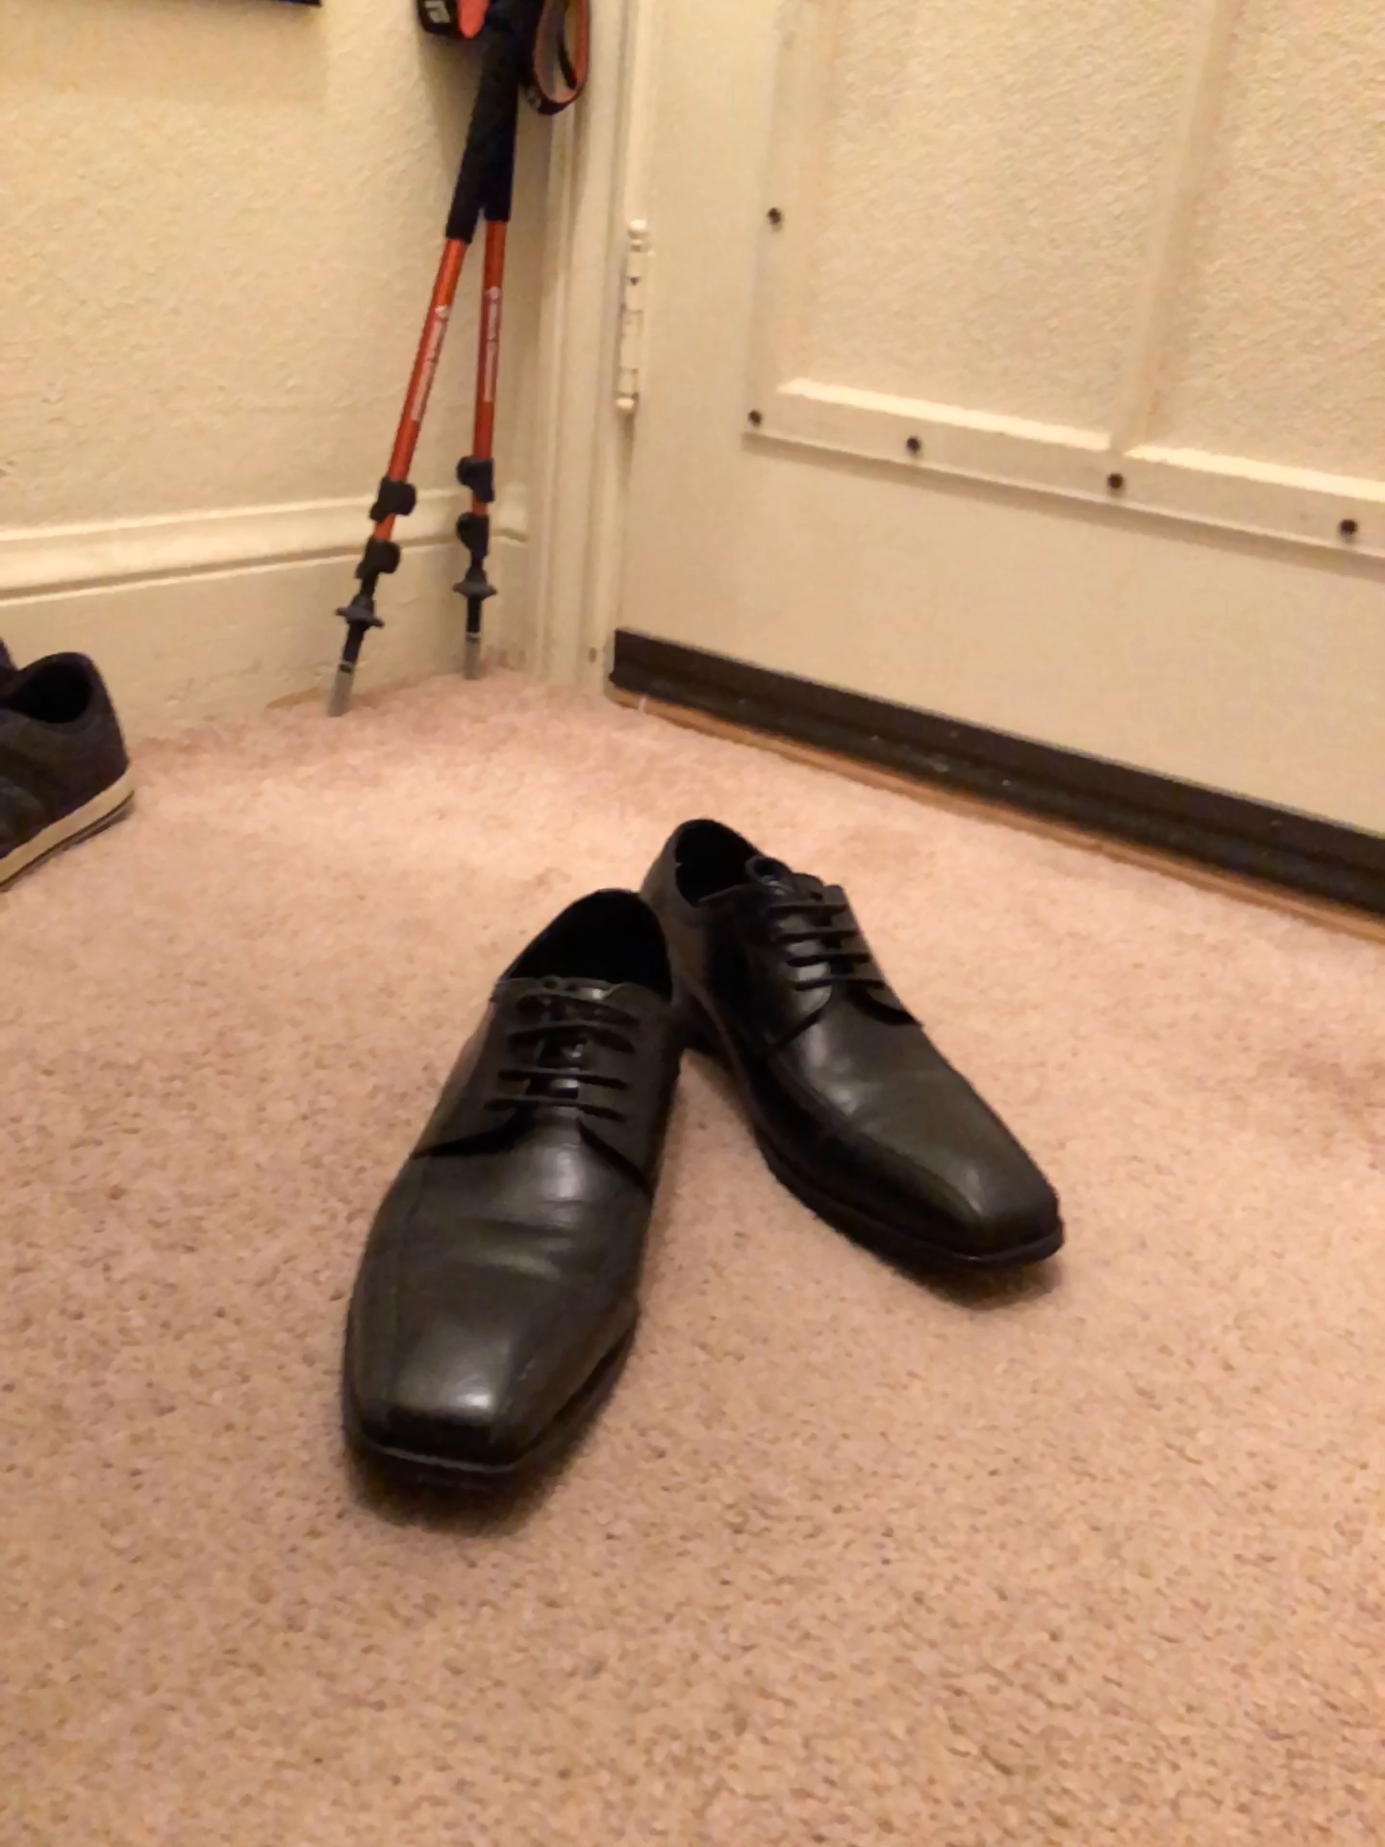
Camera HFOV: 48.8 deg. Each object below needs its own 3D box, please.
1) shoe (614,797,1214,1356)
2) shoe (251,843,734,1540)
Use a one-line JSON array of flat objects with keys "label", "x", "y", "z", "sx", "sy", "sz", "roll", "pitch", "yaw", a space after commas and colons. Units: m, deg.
[{"label": "shoe", "x": 0.081, "y": 0.049, "z": 0.713, "sx": 0.115, "sy": 0.110, "sz": 0.298, "roll": -7, "pitch": 28, "yaw": -27}, {"label": "shoe", "x": -0.060, "y": 0.078, "z": 0.587, "sx": 0.110, "sy": 0.107, "sz": 0.285, "roll": 9, "pitch": 25, "yaw": 5}]
